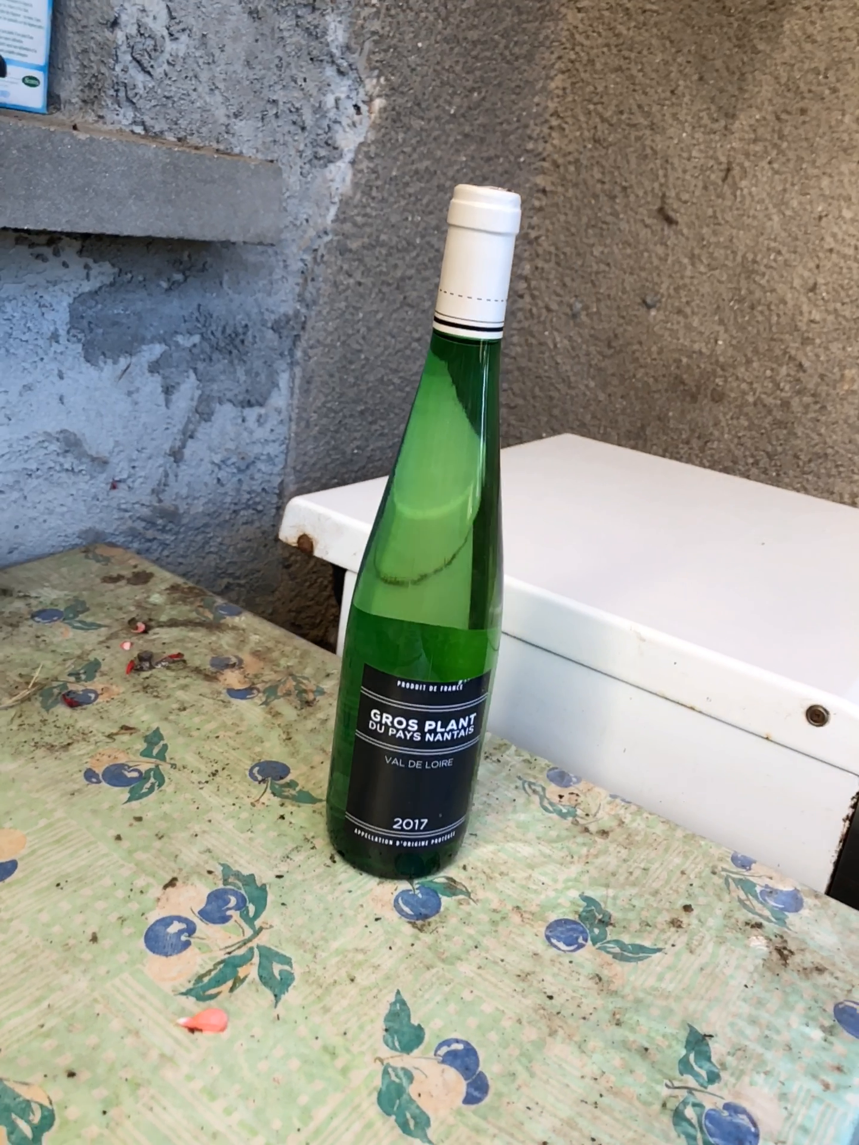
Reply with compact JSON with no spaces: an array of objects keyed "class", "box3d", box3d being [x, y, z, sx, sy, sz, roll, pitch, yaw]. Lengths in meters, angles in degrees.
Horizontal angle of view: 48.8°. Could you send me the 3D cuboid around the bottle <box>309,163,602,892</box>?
[{"class":"bottle","box3d":[-0.001,-0.009,0.458,0.080,0.338,0.080,8,21,-3]}]
